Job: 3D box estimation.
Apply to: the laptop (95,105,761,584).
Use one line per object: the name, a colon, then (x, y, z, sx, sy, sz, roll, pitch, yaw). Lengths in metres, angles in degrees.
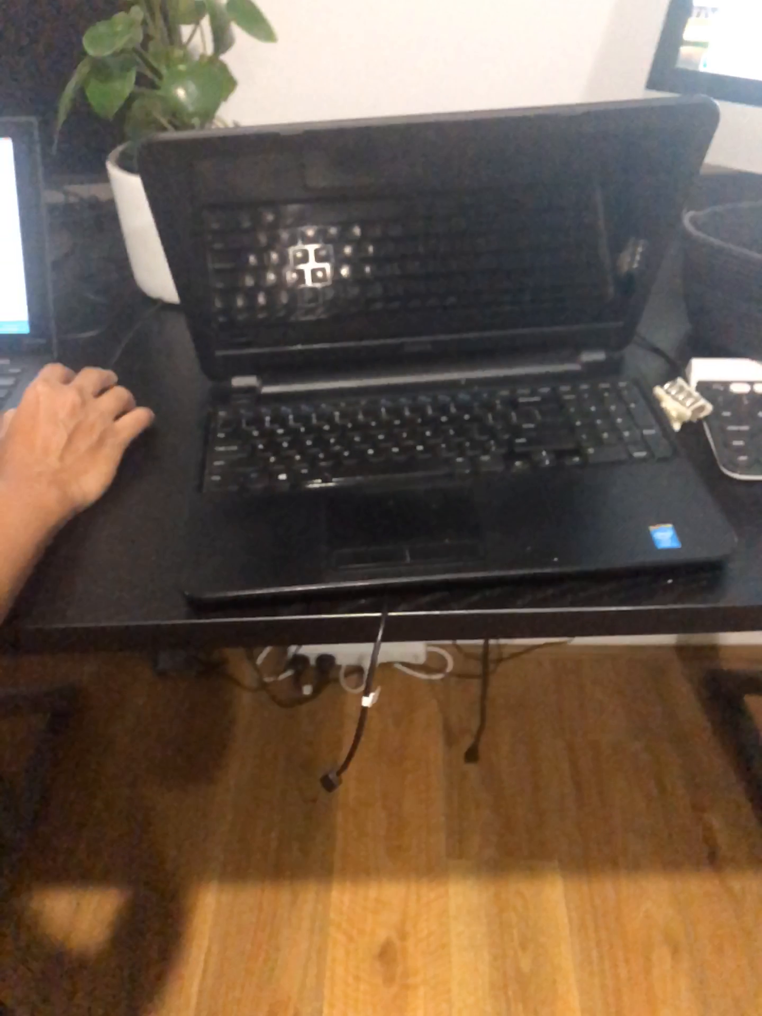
laptop: (0.033, -0.111, 0.563, 0.366, 0.210, 0.207, -3, 41, 0)
